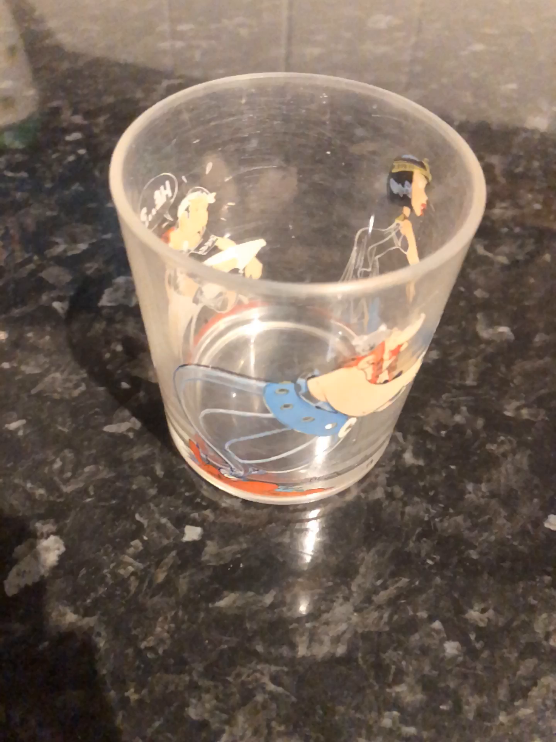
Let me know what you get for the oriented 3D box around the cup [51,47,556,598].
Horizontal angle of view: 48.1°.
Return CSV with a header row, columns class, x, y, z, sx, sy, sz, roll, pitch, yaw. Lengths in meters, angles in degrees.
class,x,y,z,sx,sy,sz,roll,pitch,yaw
cup,0.004,-0.013,0.148,0.080,0.080,0.080,2,51,-2
